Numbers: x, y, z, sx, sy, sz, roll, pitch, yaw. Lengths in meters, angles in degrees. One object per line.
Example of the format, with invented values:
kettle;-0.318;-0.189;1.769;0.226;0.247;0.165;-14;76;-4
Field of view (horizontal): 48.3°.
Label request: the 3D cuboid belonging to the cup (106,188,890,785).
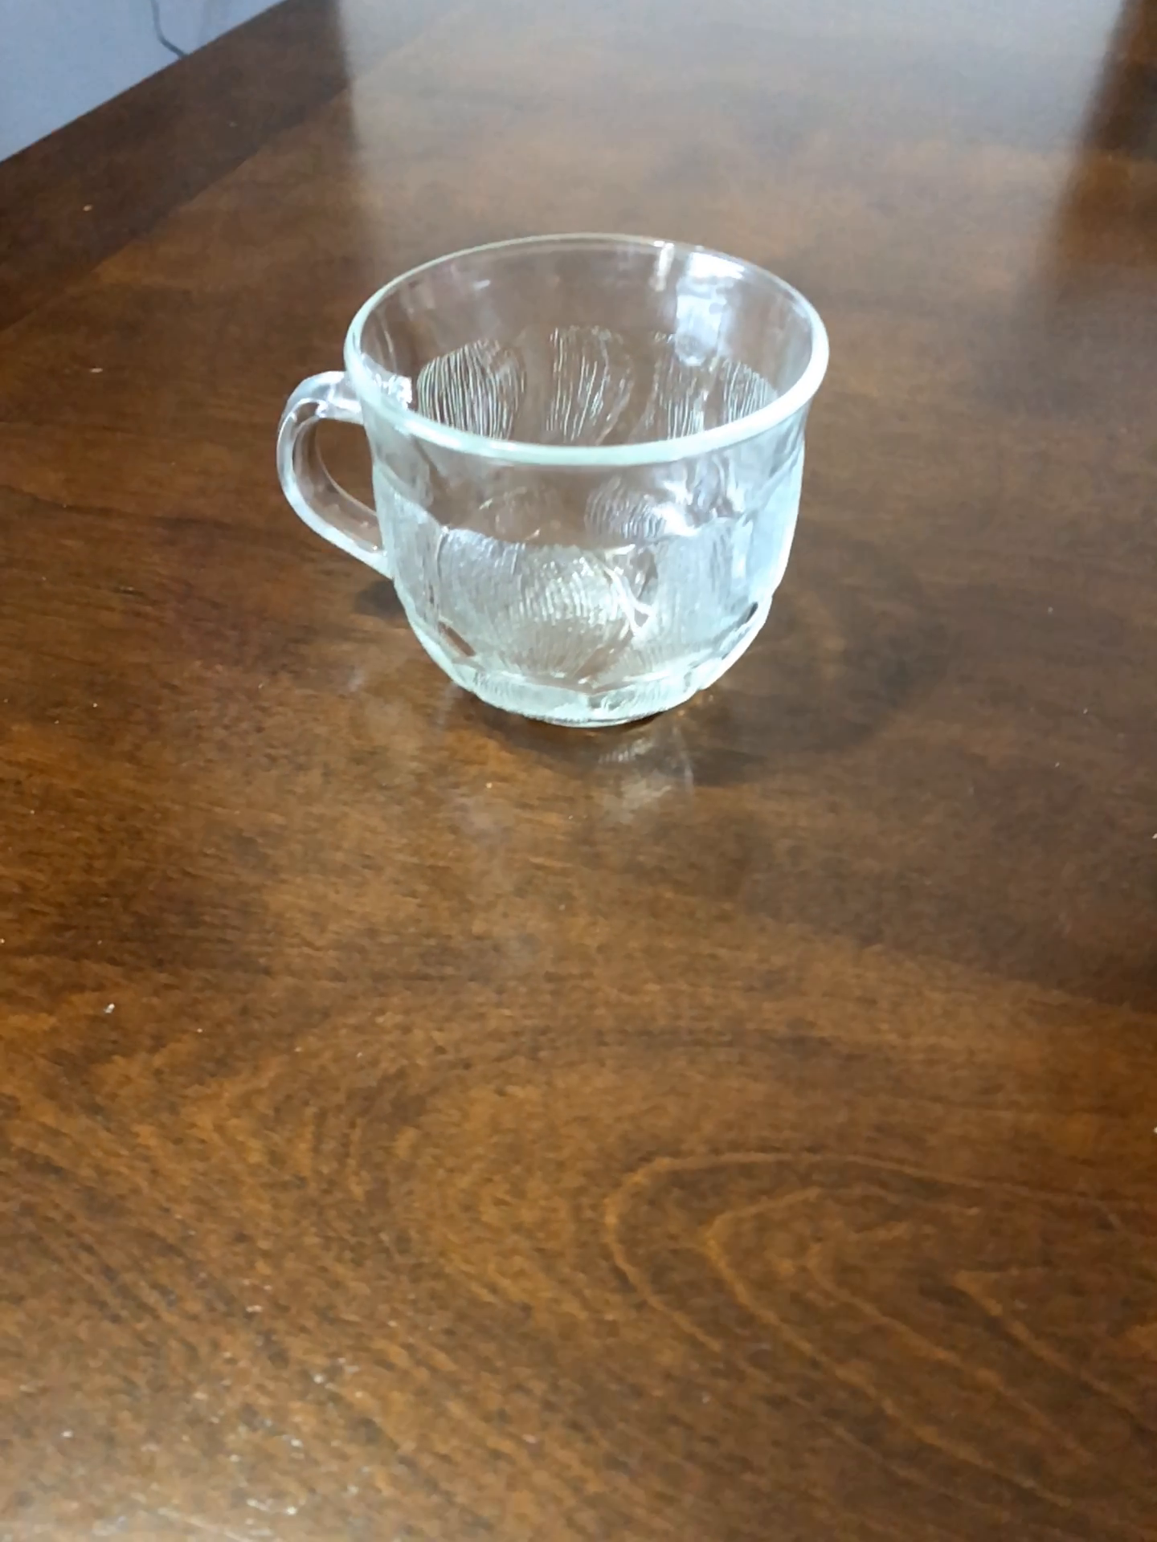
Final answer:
cup;-0.008;-0.054;0.220;0.100;0.050;0.080;13;46;14
